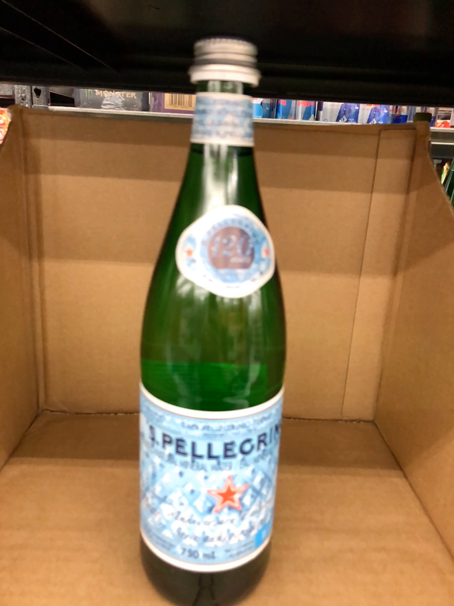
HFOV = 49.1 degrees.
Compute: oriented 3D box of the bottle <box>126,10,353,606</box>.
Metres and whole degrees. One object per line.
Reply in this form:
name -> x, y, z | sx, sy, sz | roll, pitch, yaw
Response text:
bottle -> -0.003, 0.022, 0.248 | 0.080, 0.278, 0.070 | 2, 17, -3
